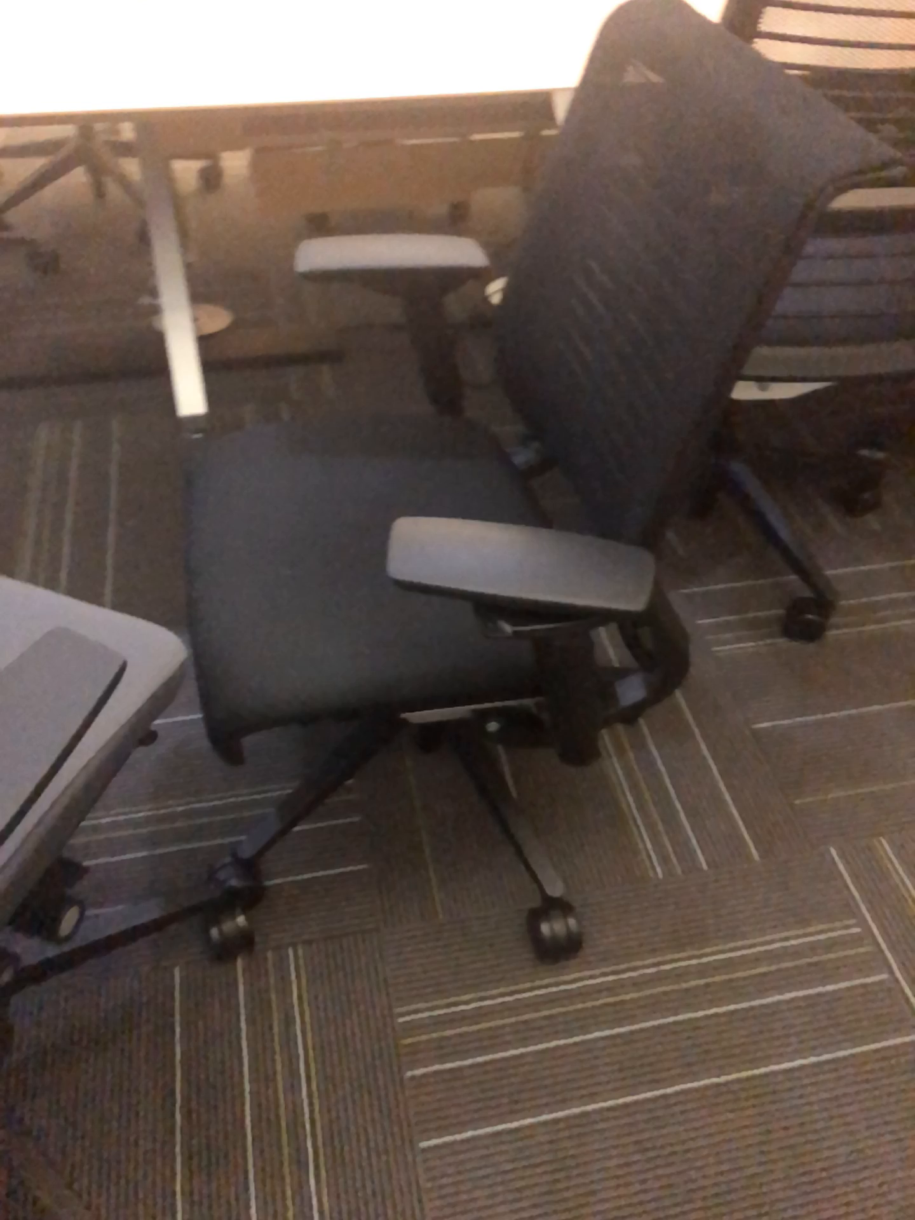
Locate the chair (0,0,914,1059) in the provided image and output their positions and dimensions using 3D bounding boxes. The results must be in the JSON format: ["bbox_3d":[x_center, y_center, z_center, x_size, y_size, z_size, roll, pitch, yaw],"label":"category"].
[{"bbox_3d":[-0.064,-0.114,1.207,0.731,0.992,0.725,-9,44,-10],"label":"chair"}]
